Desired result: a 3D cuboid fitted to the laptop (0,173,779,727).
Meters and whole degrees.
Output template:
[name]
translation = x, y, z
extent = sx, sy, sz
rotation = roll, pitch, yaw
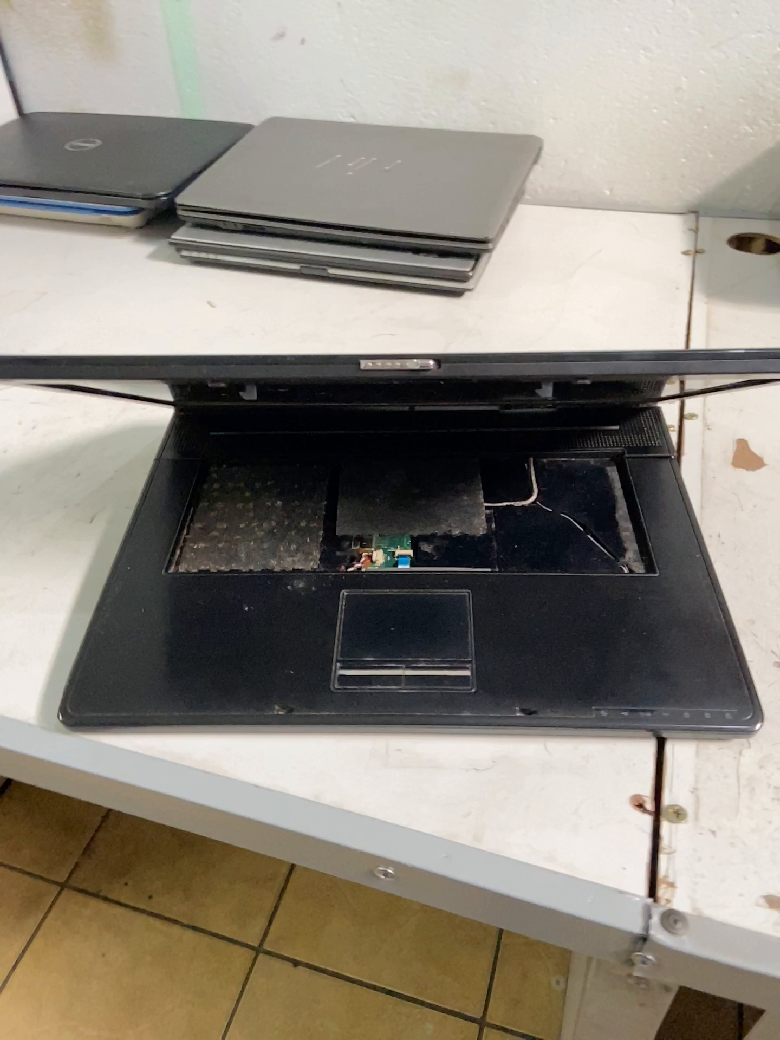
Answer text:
[laptop]
translation = 0.009, -0.051, 0.441
extent = 0.348, 0.164, 0.261
rotation = 0, 43, 3
